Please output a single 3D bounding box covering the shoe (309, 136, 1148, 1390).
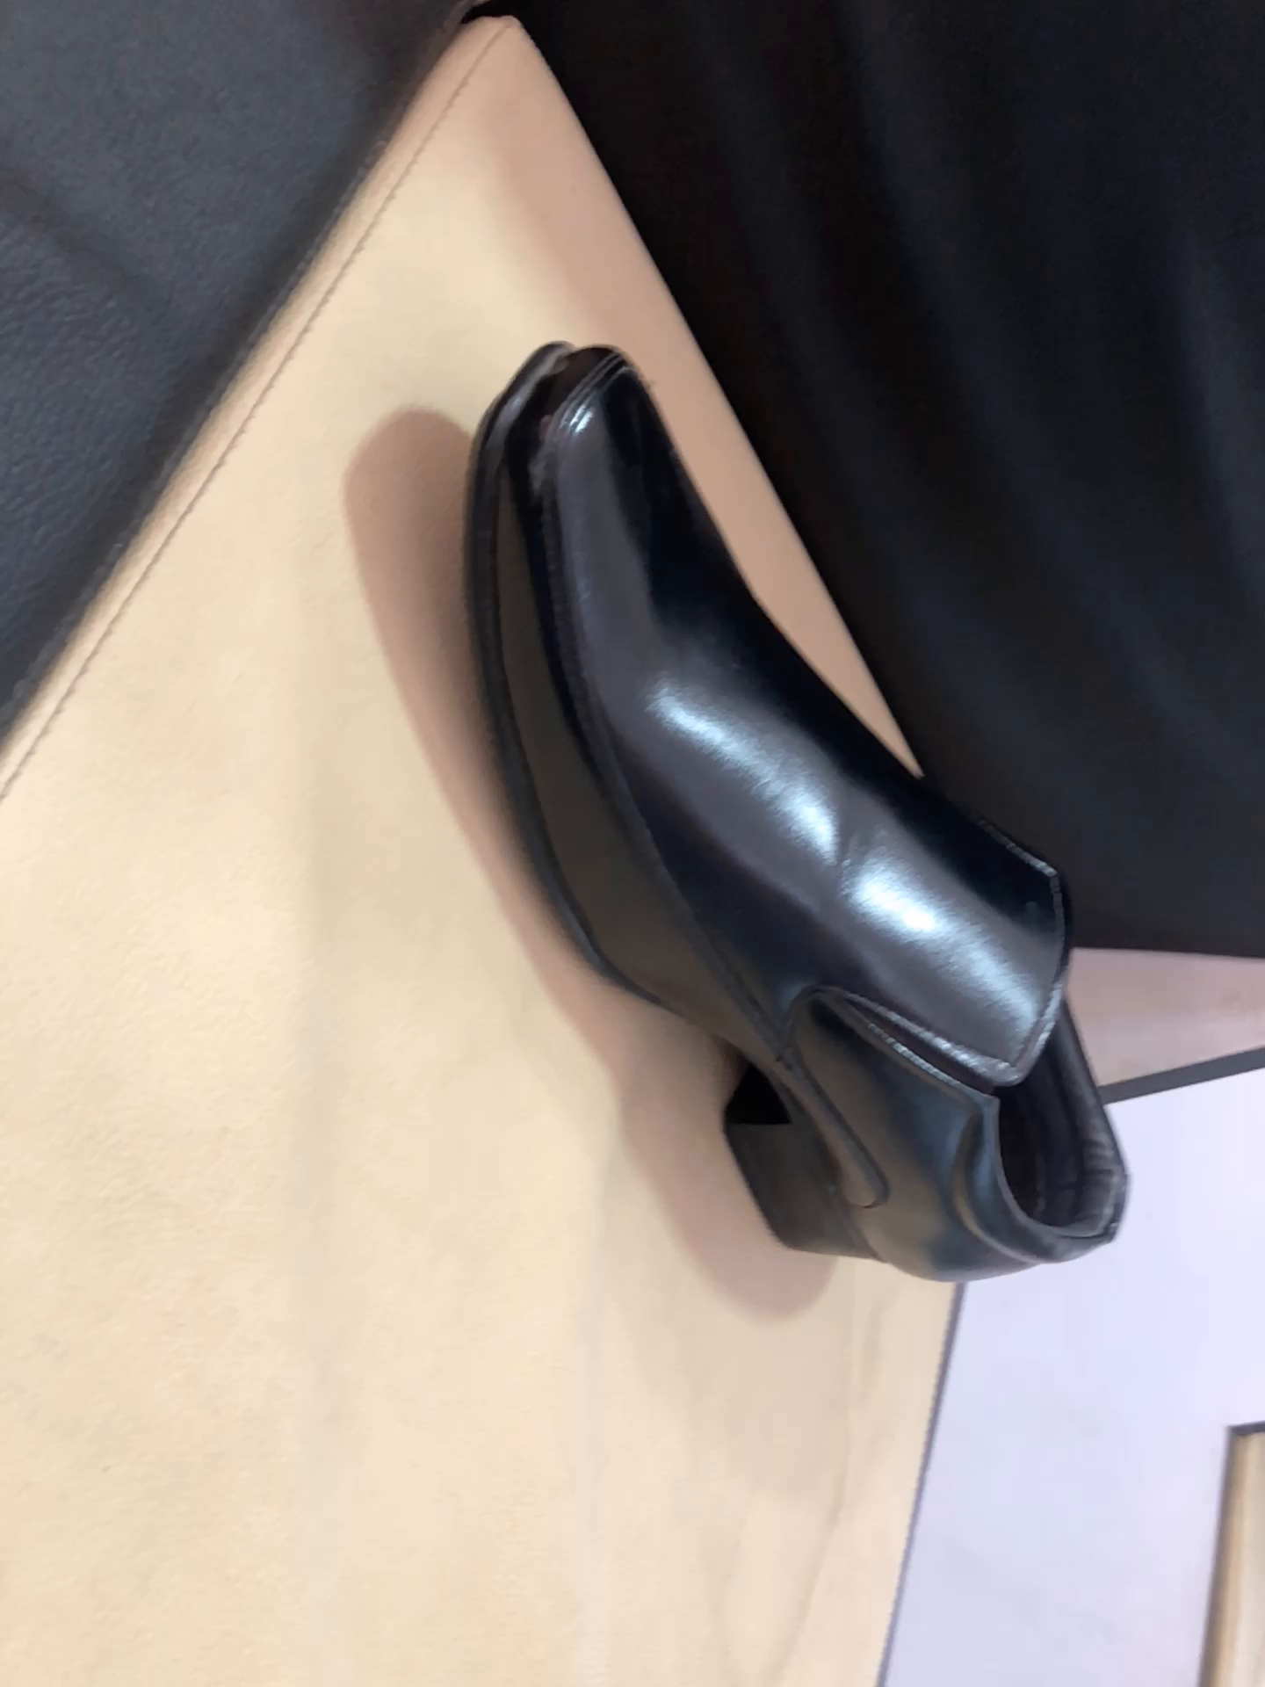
[{"bbox_3d":[0.056,0.011,0.360,0.322,0.079,0.100,61,43,-37],"label":"shoe"}]
